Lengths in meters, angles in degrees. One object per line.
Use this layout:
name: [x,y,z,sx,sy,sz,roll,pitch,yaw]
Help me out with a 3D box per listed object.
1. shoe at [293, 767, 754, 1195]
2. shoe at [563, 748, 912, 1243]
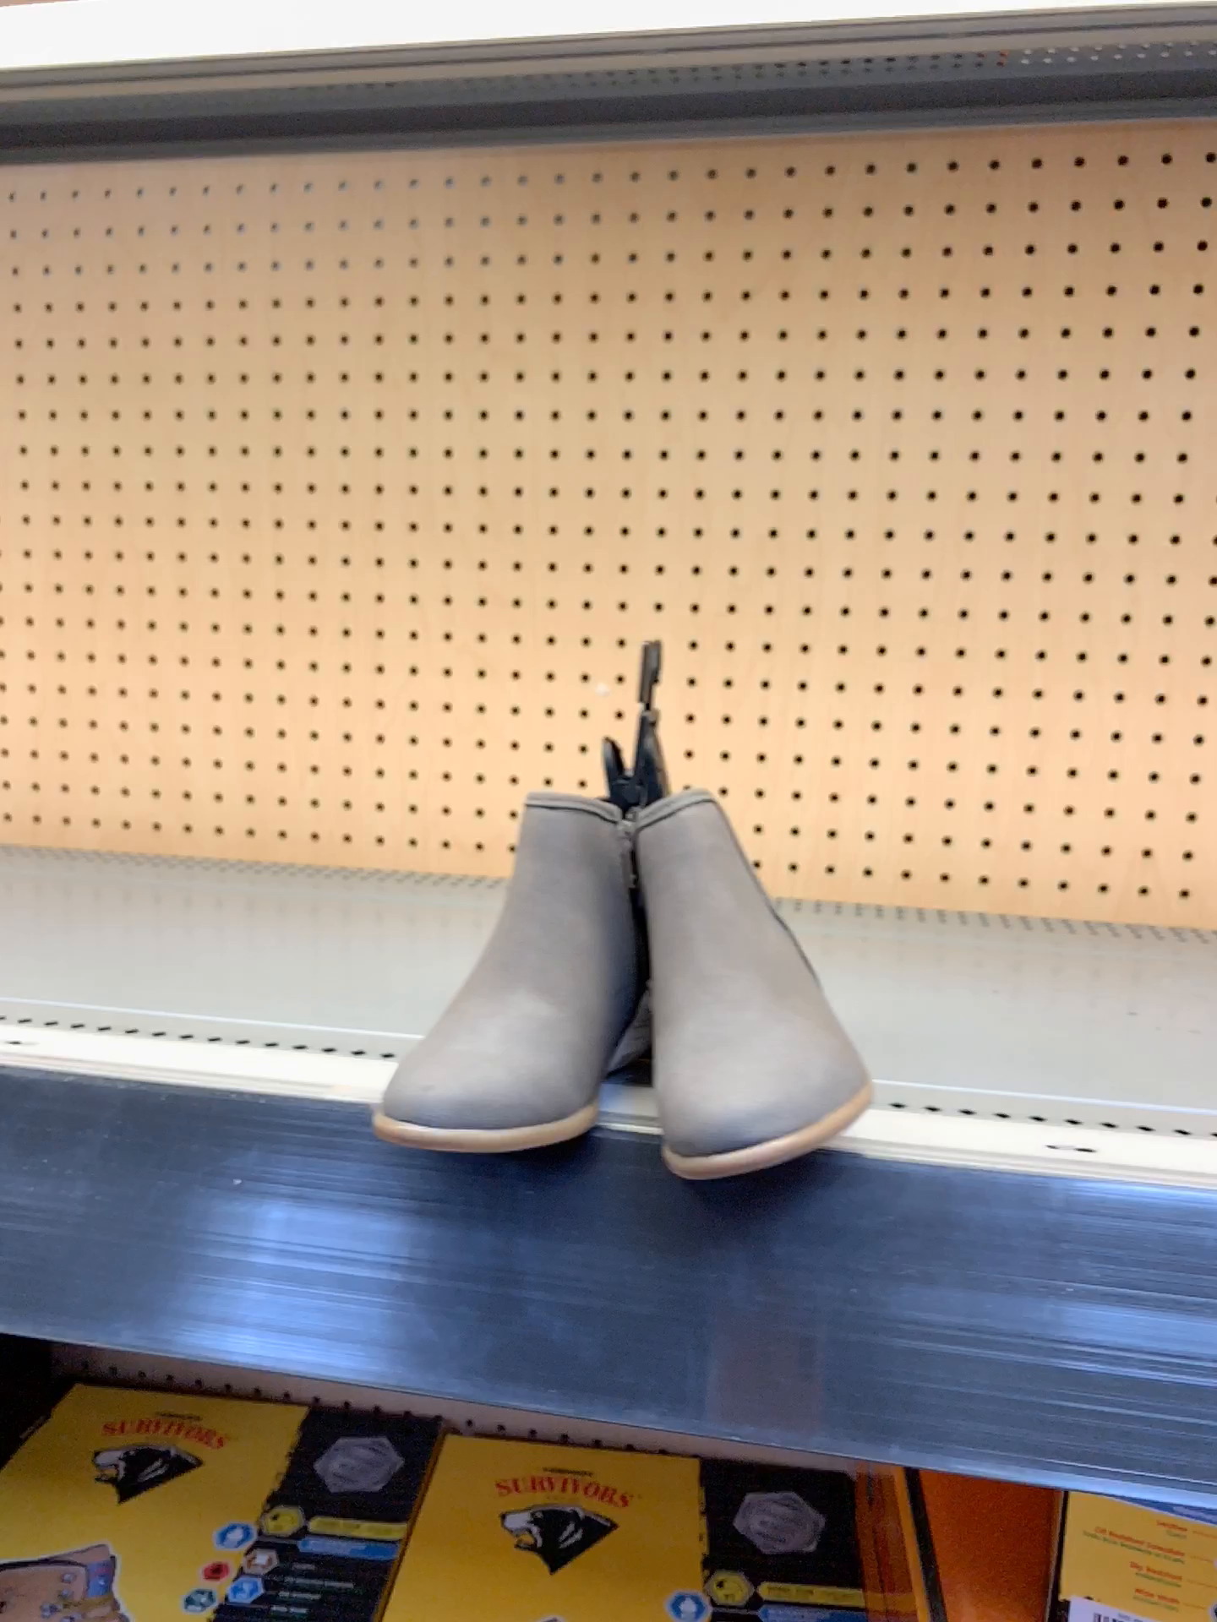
shoe: [-0.017,0.046,0.469,0.087,0.103,0.197,2,8,24]
shoe: [0.045,0.049,0.445,0.074,0.113,0.187,-13,6,7]
